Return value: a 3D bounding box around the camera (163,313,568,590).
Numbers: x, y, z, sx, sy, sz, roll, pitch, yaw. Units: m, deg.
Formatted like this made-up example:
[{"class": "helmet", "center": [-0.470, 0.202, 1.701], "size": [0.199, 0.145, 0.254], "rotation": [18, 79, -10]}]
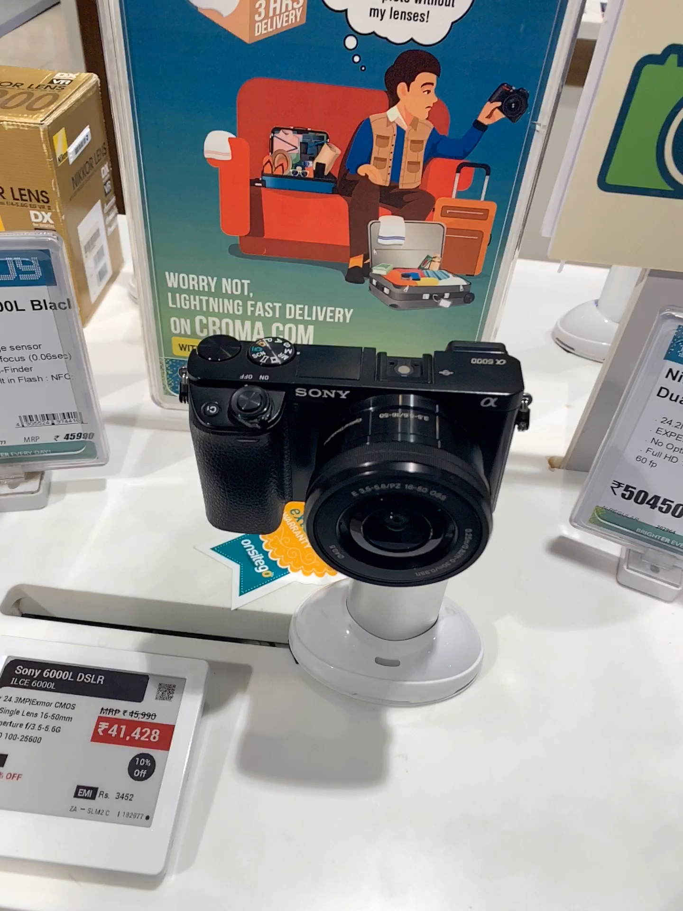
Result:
[{"class": "camera", "center": [0.005, 0.000, 0.248], "size": [0.118, 0.073, 0.056], "rotation": [3, 42, -3]}]
